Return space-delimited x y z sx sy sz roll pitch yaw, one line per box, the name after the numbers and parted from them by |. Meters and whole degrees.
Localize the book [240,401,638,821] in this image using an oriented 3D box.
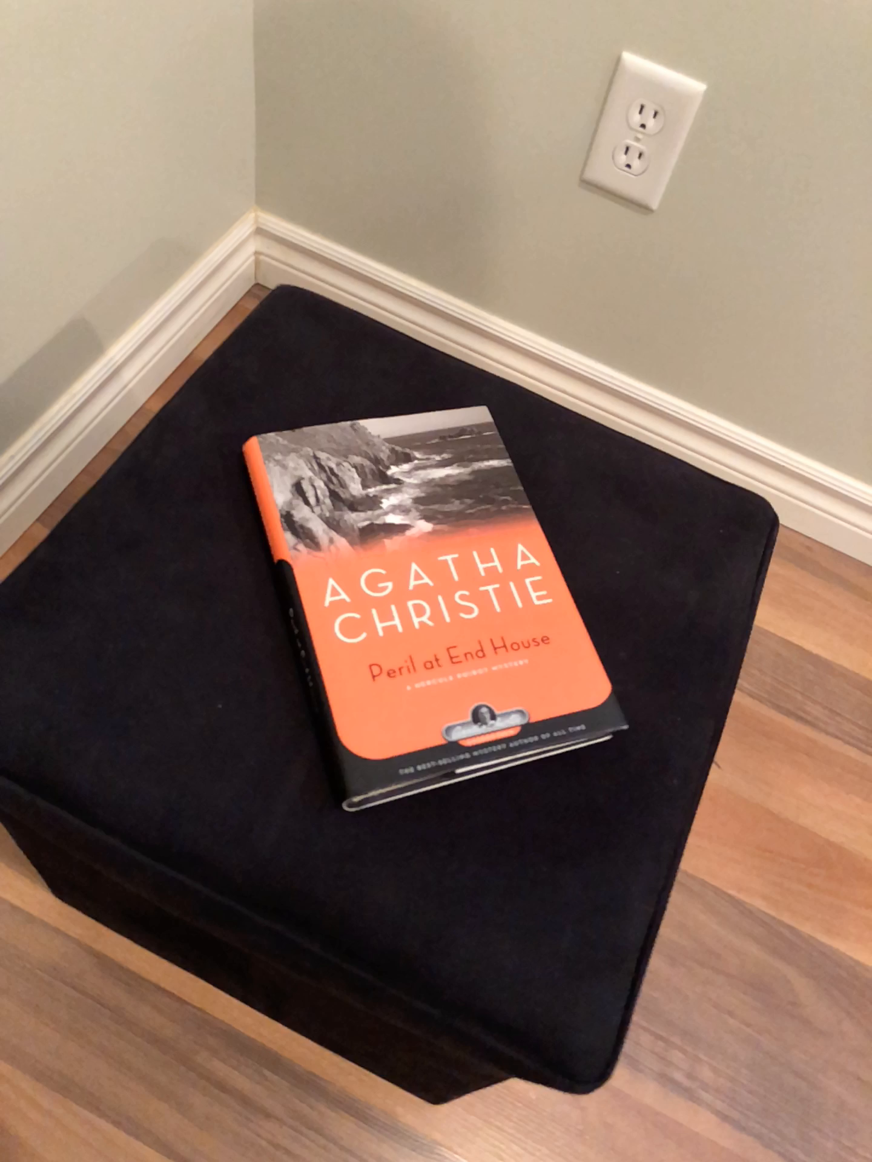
-0.006 0.003 0.499 0.146 0.030 0.206 -12 62 -18 | book
